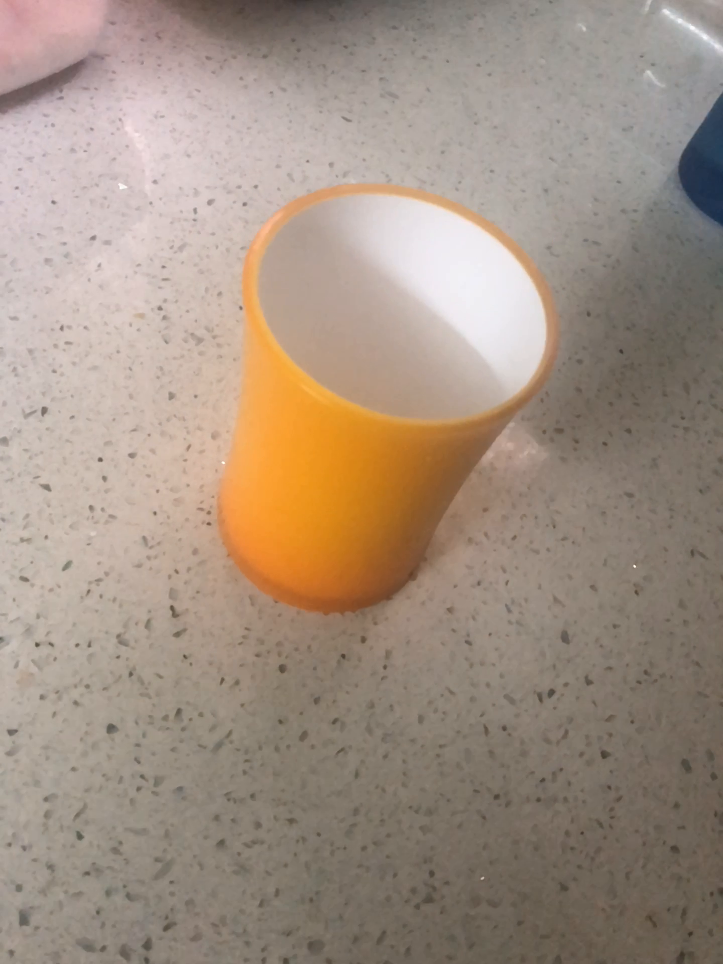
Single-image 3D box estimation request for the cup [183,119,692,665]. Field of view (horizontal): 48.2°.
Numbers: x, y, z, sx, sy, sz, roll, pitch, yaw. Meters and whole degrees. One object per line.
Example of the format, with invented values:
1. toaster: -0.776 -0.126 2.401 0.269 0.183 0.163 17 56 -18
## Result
1. cup: 0.005 -0.019 0.214 0.080 0.110 0.080 6 58 -10
